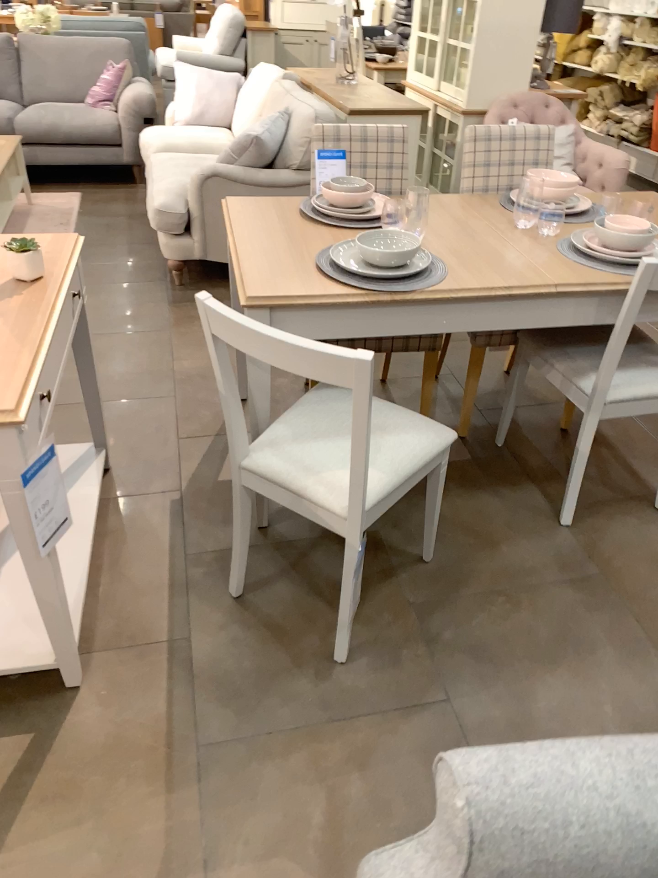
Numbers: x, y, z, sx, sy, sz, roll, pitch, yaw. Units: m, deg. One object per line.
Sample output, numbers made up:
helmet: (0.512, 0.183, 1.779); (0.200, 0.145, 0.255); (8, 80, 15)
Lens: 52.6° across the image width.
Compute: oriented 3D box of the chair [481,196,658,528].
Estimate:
chair: (0.847, -0.243, 2.040); (0.430, 0.817, 0.539); (-6, 35, -13)

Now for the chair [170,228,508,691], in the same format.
chair: (0.024, 0.028, 1.561); (0.462, 0.817, 0.538); (23, 39, 26)
